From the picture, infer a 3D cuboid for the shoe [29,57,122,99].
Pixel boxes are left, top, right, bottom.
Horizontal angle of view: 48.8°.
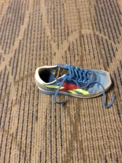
[{"bbox_3d":[0.043,-0.006,0.445,0.259,0.095,0.101,-1,64,6],"label":"shoe"}]
